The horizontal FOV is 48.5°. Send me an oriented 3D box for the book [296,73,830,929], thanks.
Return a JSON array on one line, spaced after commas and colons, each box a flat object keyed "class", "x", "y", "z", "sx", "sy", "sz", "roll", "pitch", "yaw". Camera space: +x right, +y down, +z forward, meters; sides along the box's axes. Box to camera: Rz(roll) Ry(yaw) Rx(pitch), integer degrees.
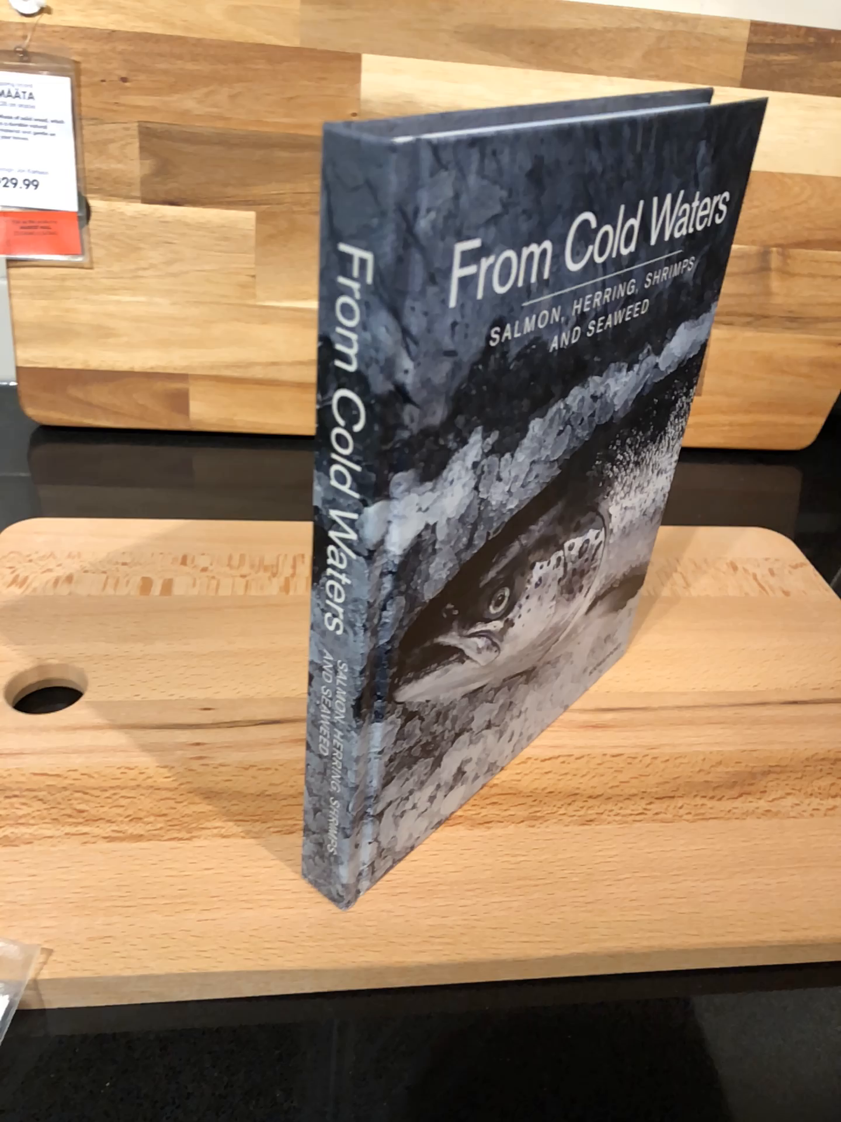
[{"class": "book", "x": 0.048, "y": -0.029, "z": 0.299, "sx": 0.029, "sy": 0.219, "sz": 0.213, "roll": 26, "pitch": 38, "yaw": 30}]
